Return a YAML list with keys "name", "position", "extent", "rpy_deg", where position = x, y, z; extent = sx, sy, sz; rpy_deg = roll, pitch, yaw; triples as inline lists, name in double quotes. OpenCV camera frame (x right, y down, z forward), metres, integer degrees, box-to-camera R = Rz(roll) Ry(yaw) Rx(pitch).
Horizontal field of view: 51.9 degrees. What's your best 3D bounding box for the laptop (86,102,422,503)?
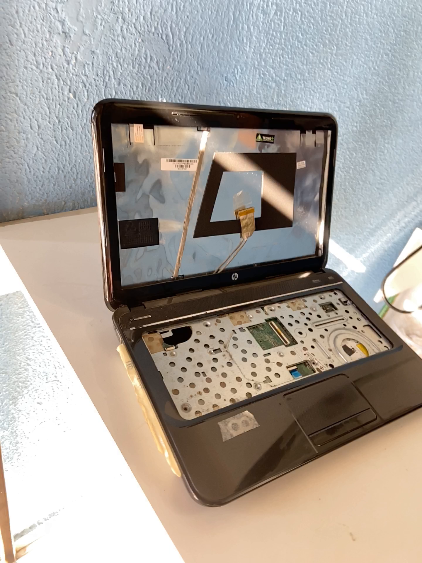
- name: "laptop"
  position: [0.083, -0.028, 0.470]
  extent: [0.336, 0.186, 0.324]
  rpy_deg: [-10, 44, -30]
